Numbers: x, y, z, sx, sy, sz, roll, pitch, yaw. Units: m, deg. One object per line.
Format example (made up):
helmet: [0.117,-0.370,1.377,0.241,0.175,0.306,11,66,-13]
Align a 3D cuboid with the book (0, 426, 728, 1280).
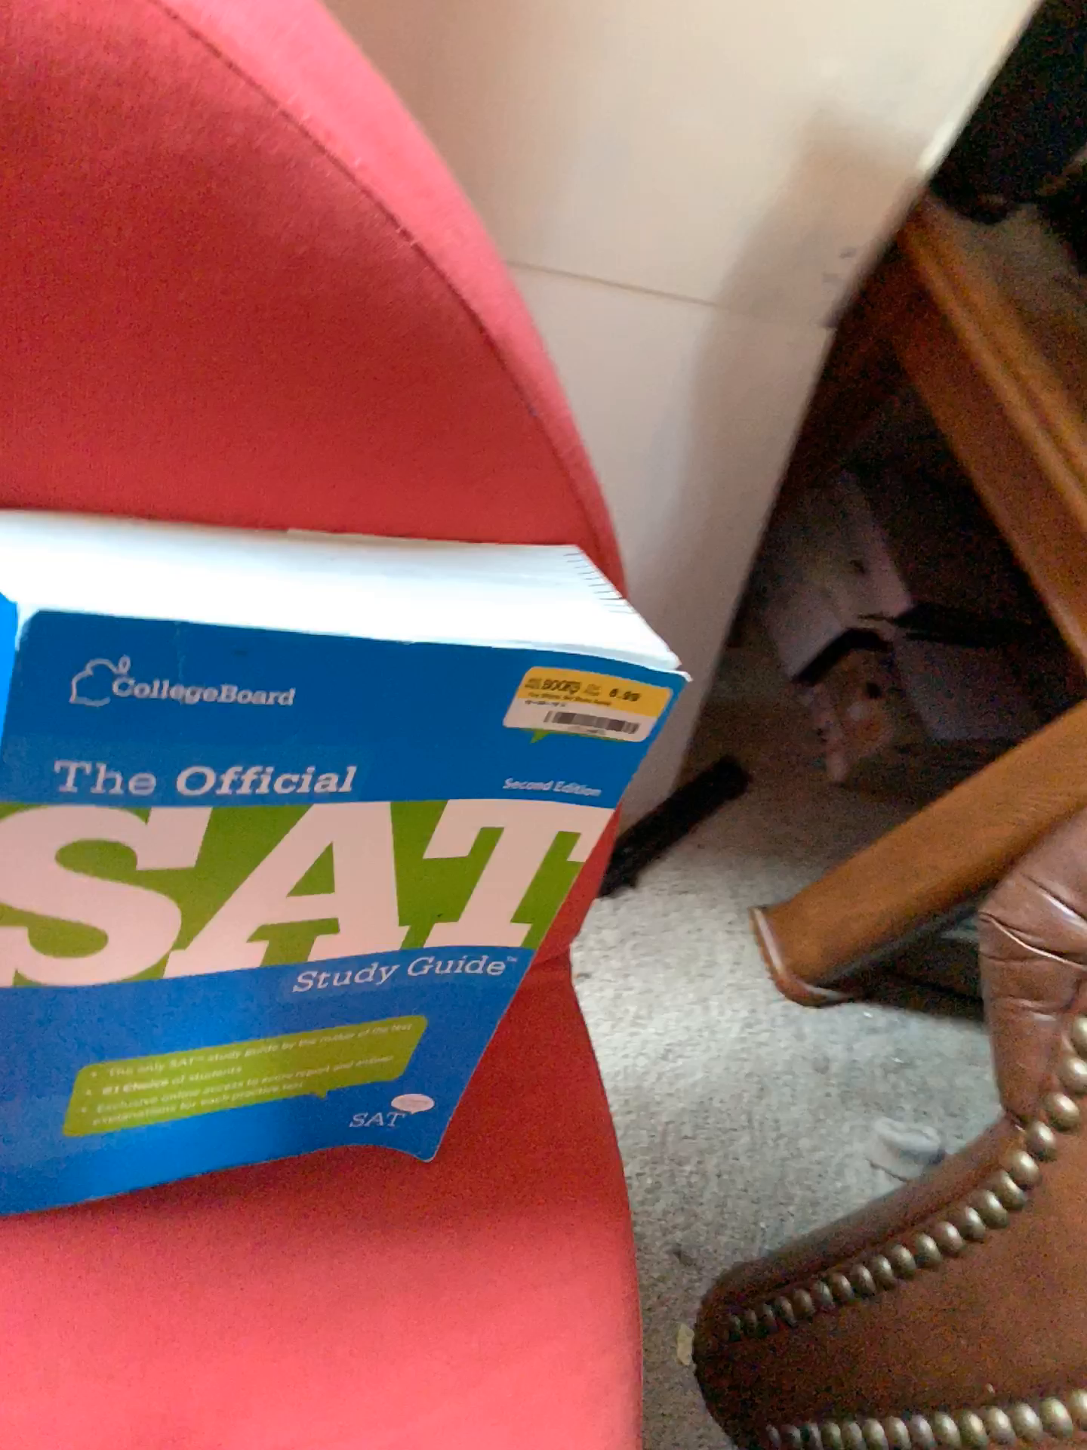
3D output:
book: [-0.097,0.055,0.389,0.230,0.259,0.080,3,32,-30]
